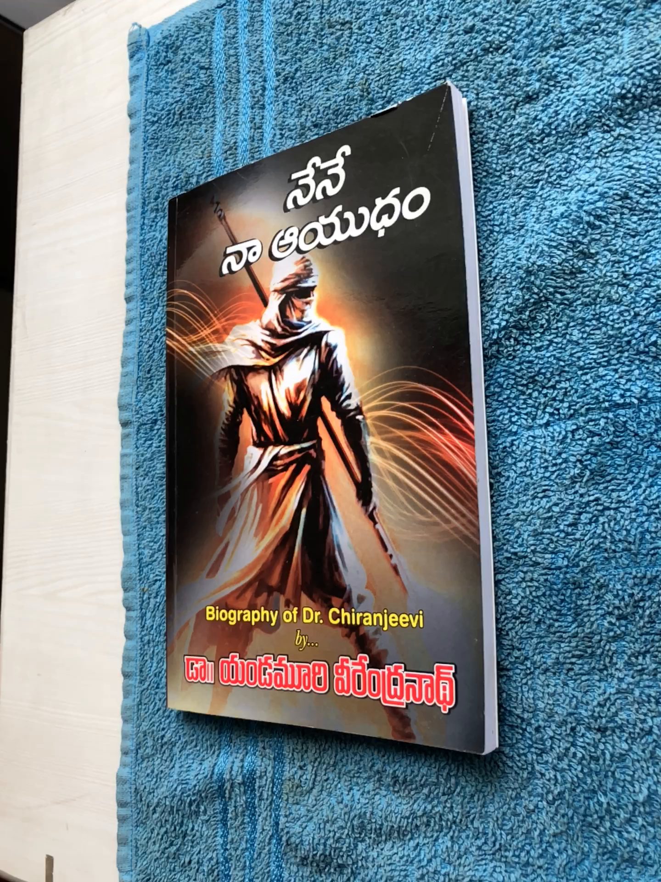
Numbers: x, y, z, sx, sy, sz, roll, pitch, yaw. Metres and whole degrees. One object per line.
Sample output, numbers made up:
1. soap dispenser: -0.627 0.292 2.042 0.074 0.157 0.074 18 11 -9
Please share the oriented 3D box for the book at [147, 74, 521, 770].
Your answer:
1. book: -0.008 -0.005 0.280 0.141 0.030 0.220 -6 81 32
